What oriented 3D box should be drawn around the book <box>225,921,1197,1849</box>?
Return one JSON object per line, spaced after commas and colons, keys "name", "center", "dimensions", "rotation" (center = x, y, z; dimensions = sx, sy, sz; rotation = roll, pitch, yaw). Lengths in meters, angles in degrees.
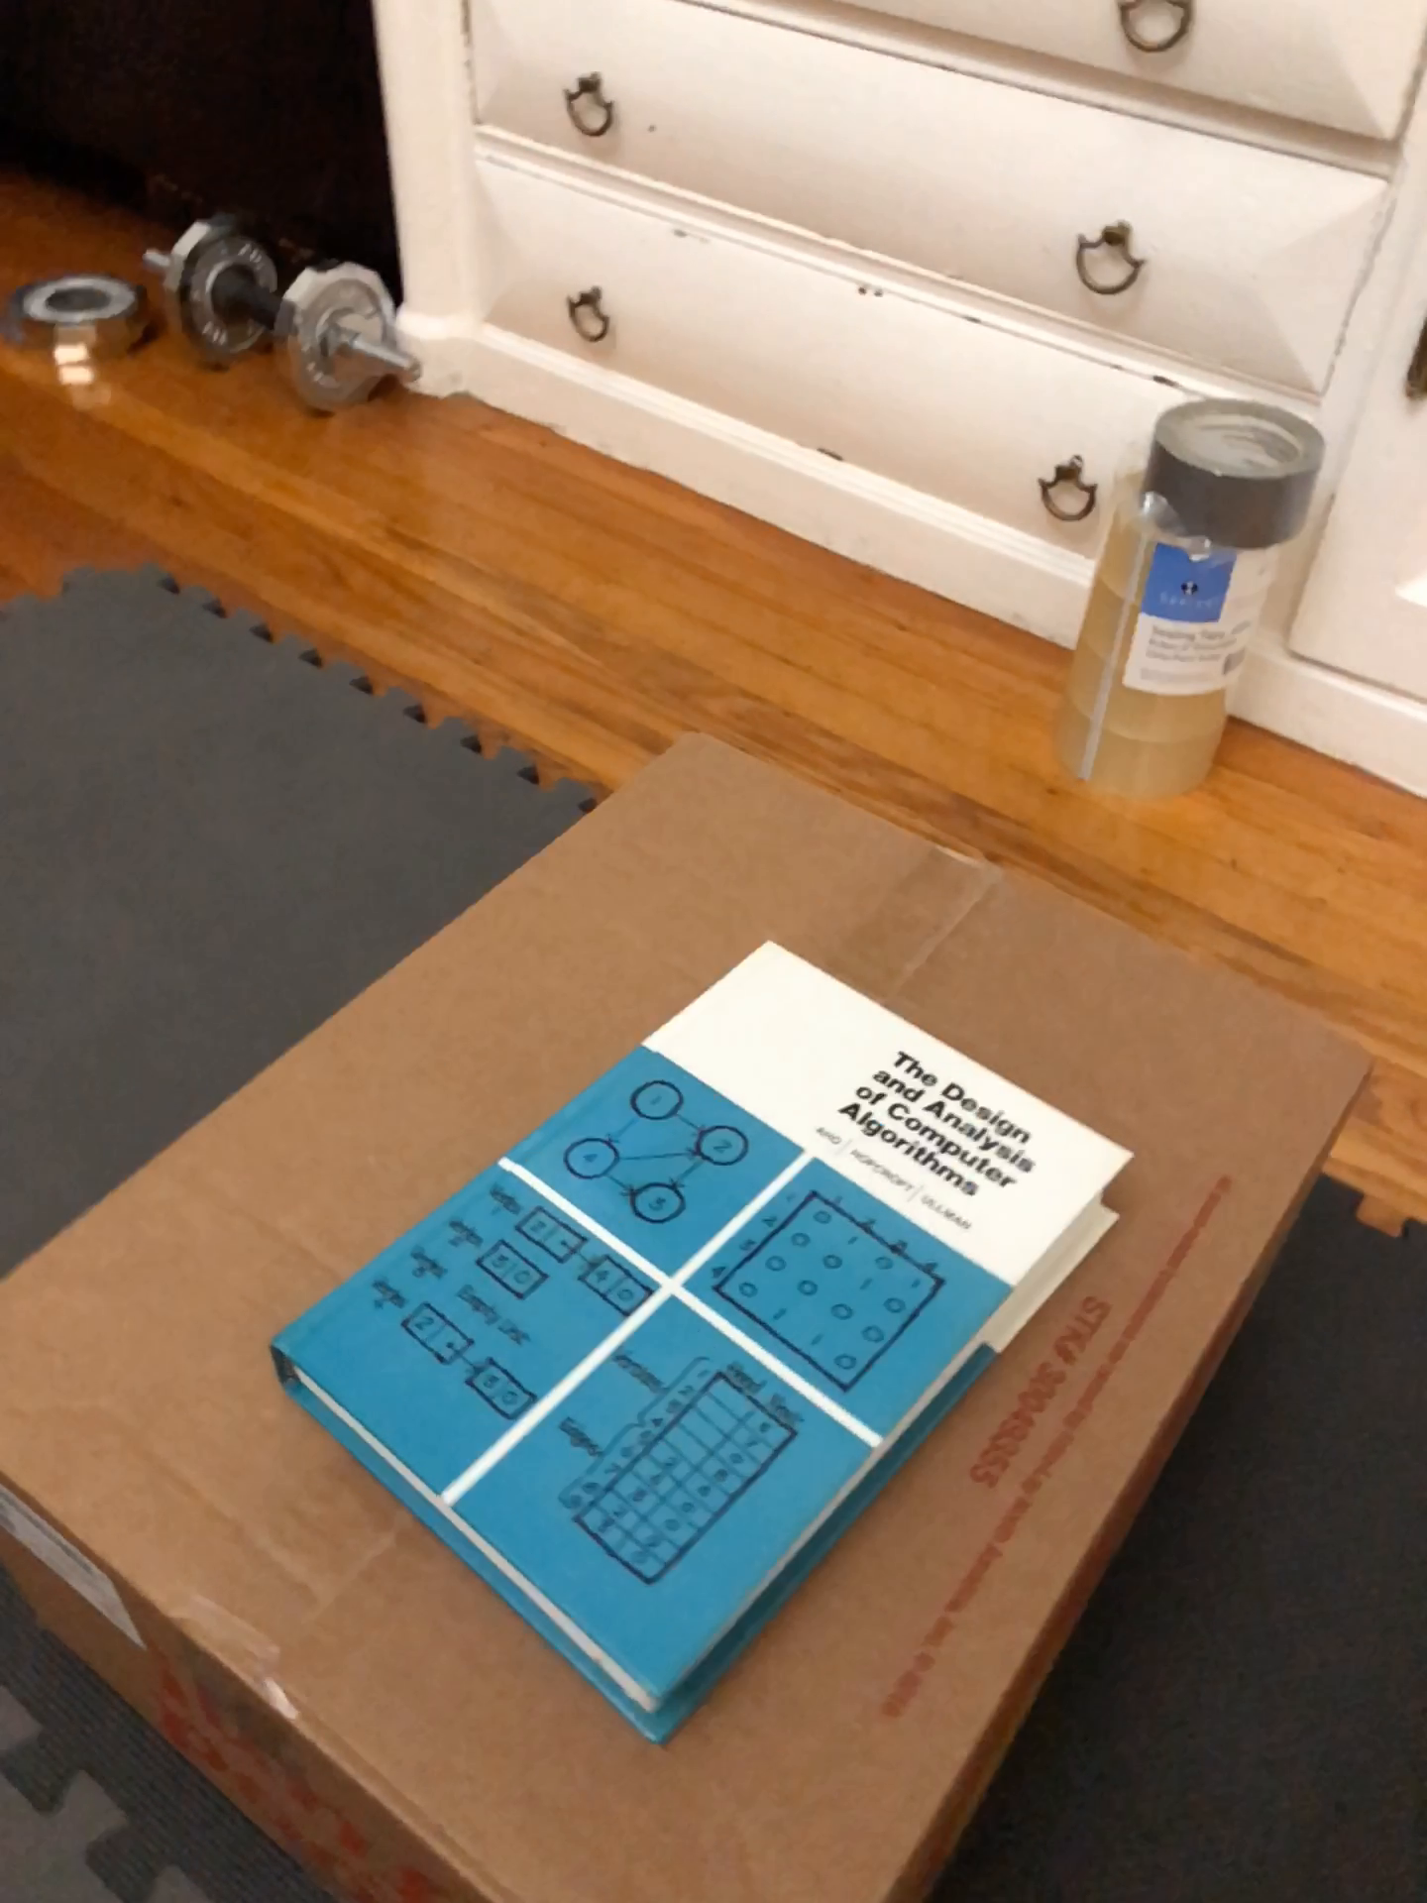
{"name": "book", "center": [0.007, 0.114, 0.524], "dimensions": [0.190, 0.040, 0.261], "rotation": [33, 52, 28]}
